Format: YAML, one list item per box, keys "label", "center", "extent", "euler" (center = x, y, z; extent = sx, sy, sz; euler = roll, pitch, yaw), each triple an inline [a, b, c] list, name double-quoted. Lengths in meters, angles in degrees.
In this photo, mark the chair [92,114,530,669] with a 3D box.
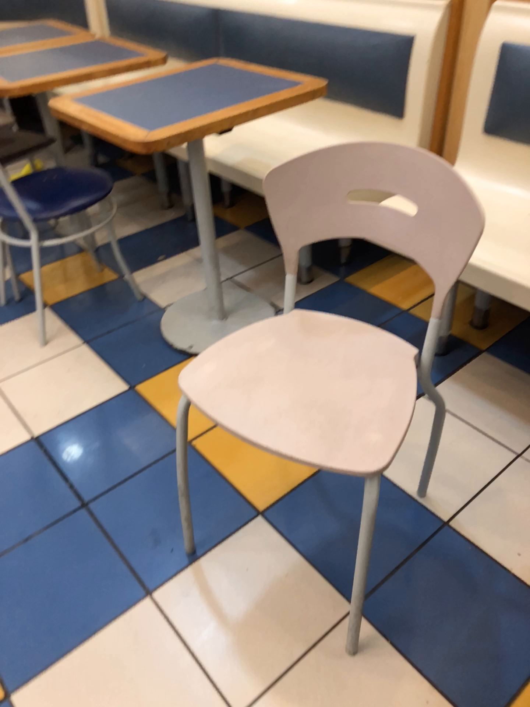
- label: "chair"
  center: [0.100, 0.061, 1.072]
  extent: [0.451, 0.794, 0.472]
  euler: [22, 44, 29]
